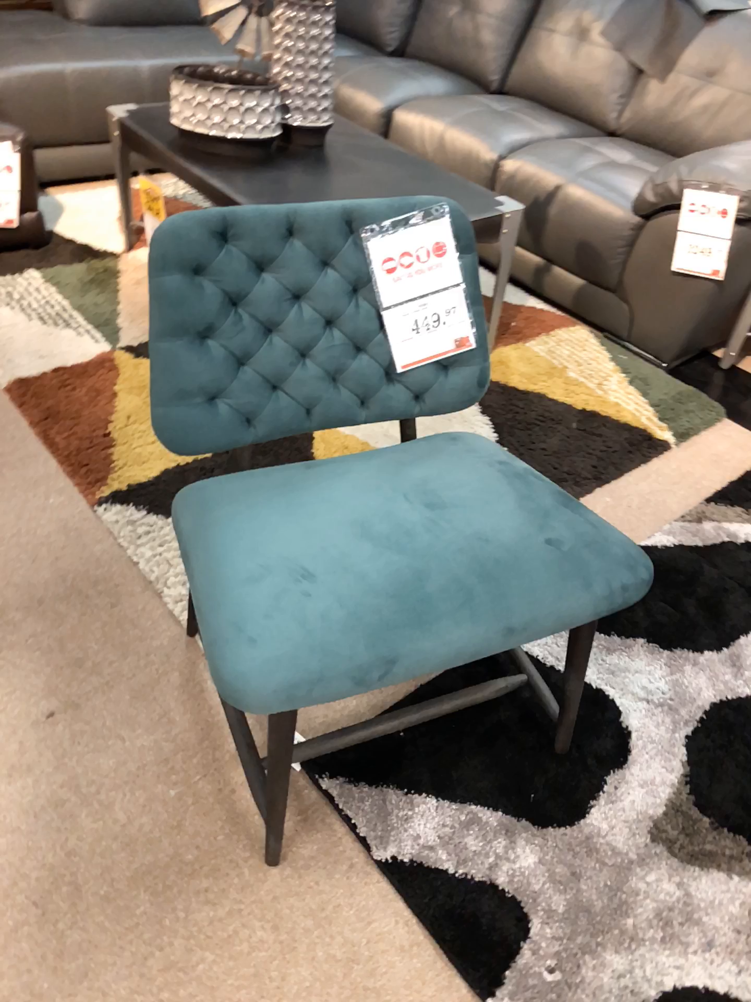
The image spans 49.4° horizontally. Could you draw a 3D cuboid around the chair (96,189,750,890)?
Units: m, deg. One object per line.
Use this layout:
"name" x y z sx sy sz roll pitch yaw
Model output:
"chair" 0.001 0.029 1.211 0.639 0.765 0.534 -11 43 -24
